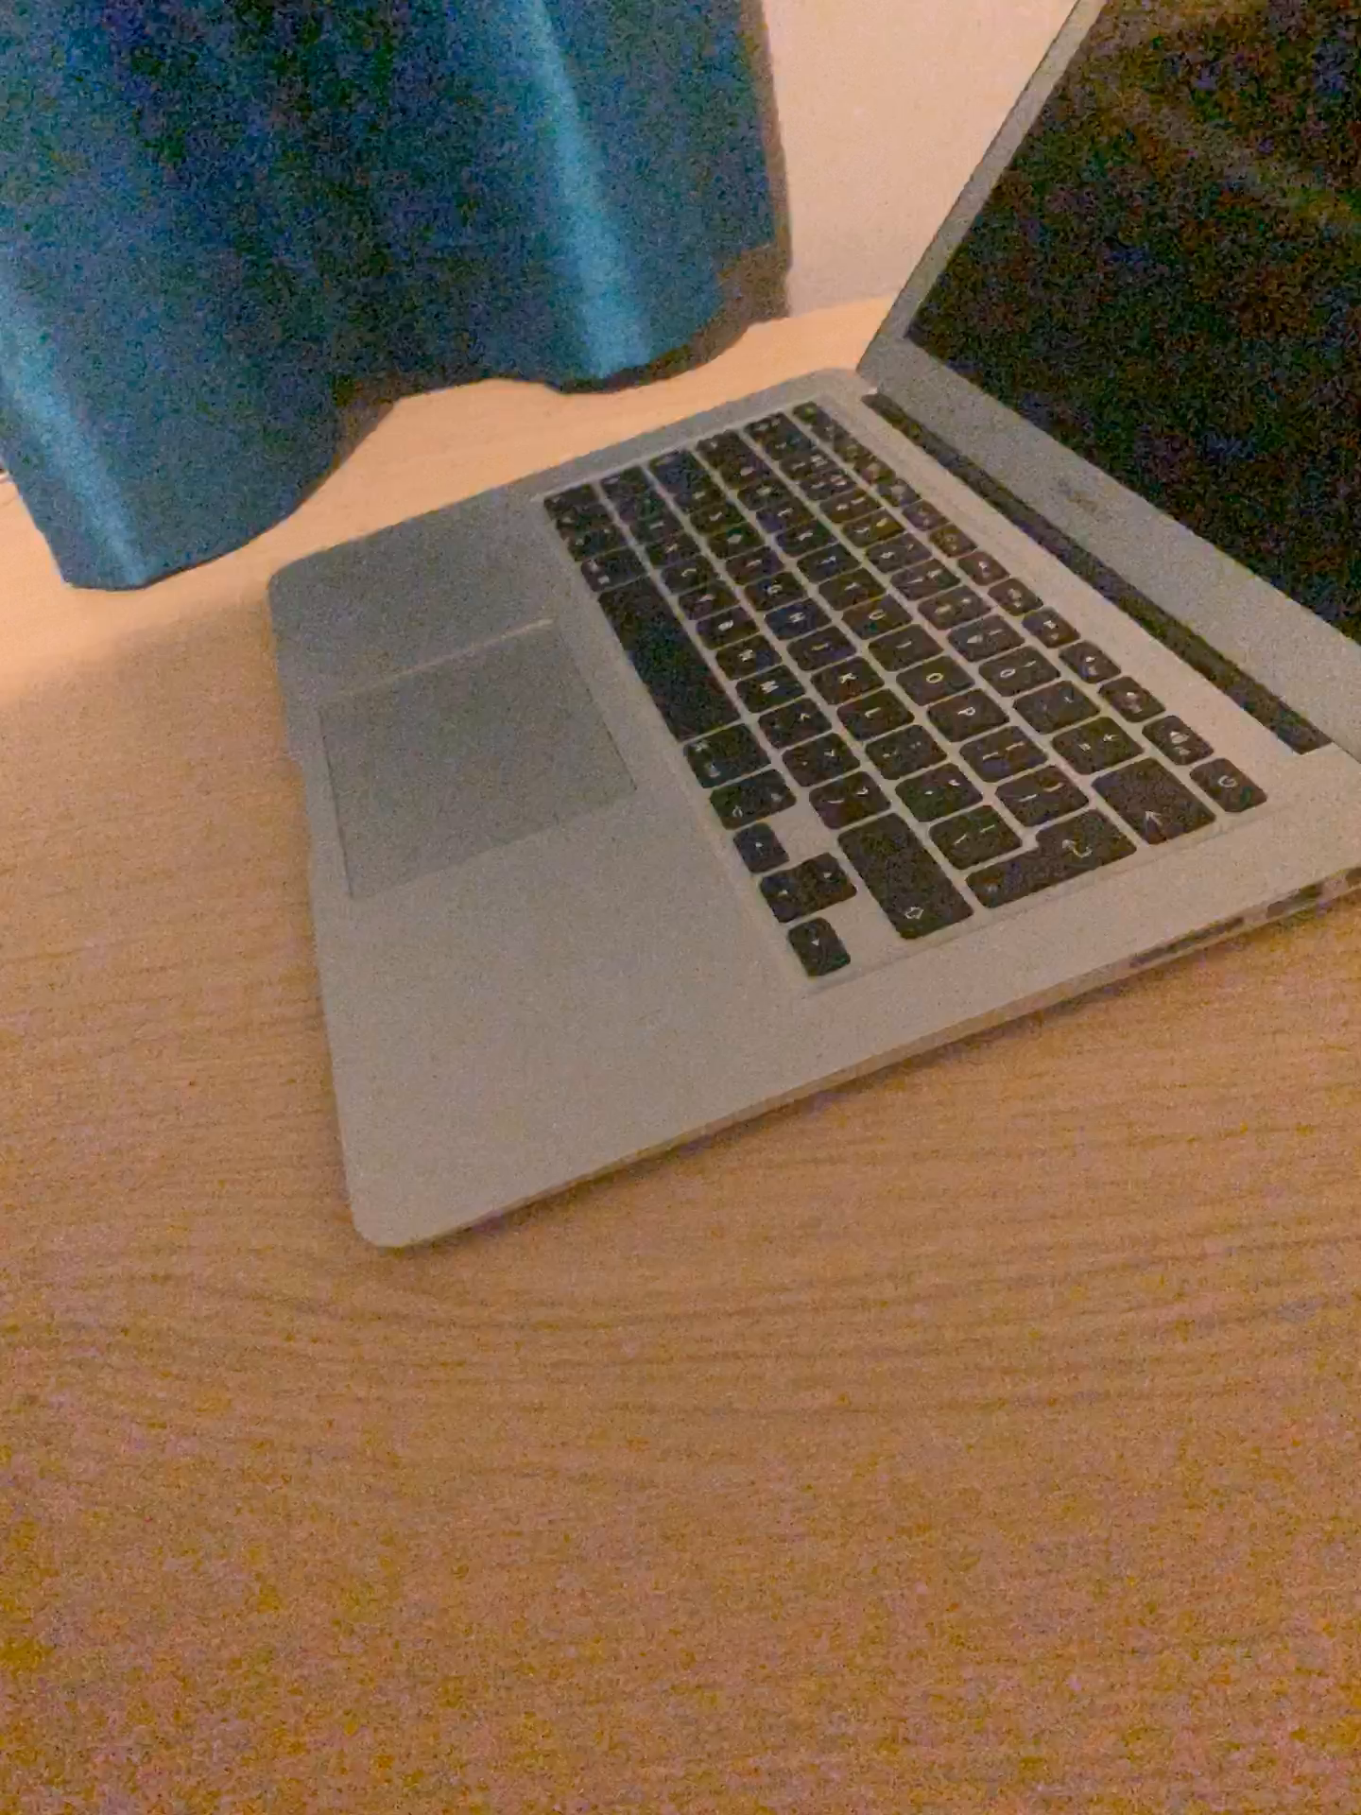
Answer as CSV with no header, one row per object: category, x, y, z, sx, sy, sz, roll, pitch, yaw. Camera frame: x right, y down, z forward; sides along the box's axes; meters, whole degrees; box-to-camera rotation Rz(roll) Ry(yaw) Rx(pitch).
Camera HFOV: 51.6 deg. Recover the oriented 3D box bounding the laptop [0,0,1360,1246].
laptop,0.058,-0.147,0.340,0.368,0.144,0.304,-21,40,-6
